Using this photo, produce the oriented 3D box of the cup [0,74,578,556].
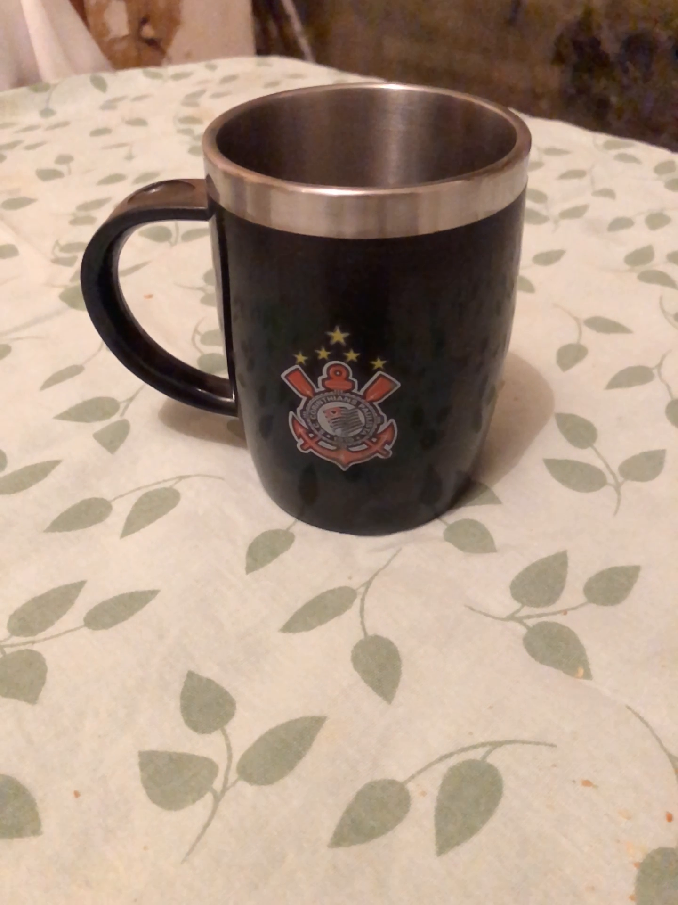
[{"bbox_3d":[-0.010,-0.042,0.240,0.130,0.119,0.091,0,40,2],"label":"cup"}]
